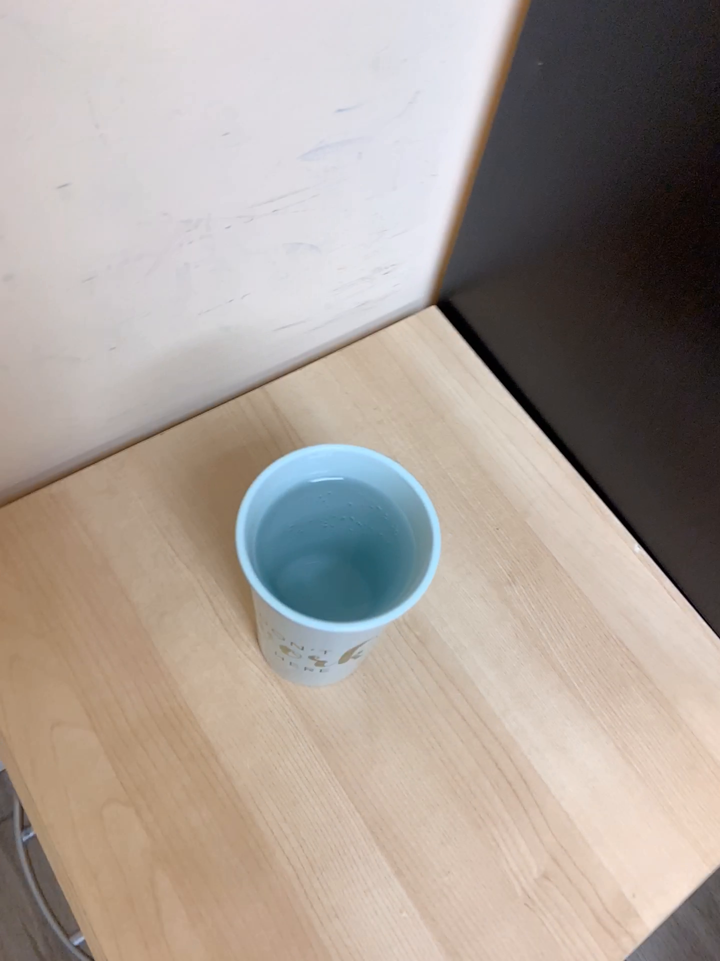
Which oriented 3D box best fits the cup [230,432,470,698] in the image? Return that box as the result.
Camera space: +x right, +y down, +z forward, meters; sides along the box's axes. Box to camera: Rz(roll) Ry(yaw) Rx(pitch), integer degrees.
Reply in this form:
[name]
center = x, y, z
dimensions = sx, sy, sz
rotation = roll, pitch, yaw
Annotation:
[cup]
center = -0.014, 0.054, 0.393
dimensions = 0.100, 0.156, 0.090
rotation = 1, 63, -7
